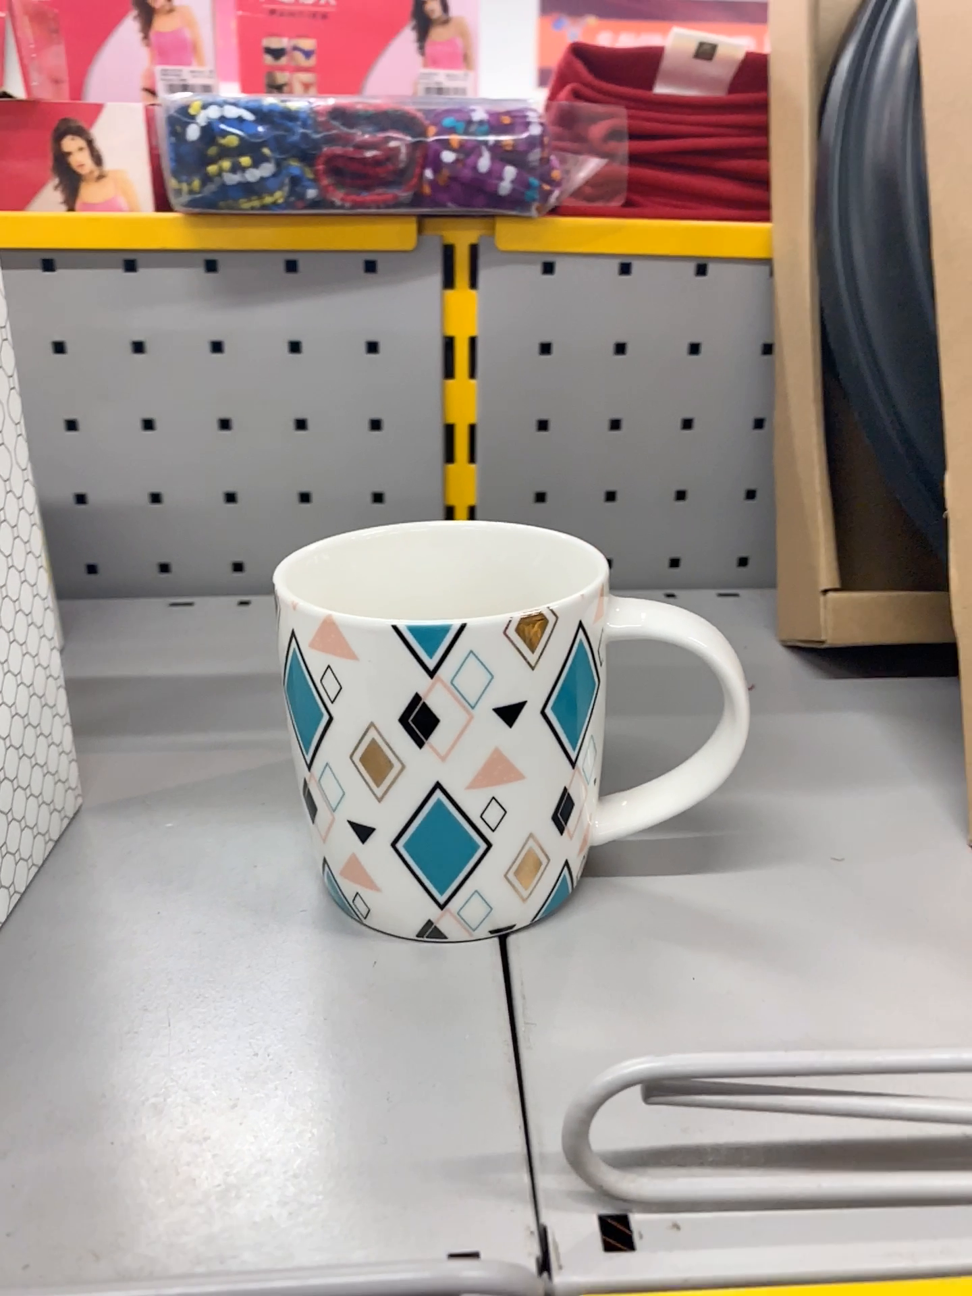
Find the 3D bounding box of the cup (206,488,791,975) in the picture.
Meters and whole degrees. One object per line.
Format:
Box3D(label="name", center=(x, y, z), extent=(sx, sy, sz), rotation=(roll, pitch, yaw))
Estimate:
Box3D(label="cup", center=(0.004, 0.015, 0.270), extent=(0.120, 0.090, 0.100), rotation=(2, 22, 2))
